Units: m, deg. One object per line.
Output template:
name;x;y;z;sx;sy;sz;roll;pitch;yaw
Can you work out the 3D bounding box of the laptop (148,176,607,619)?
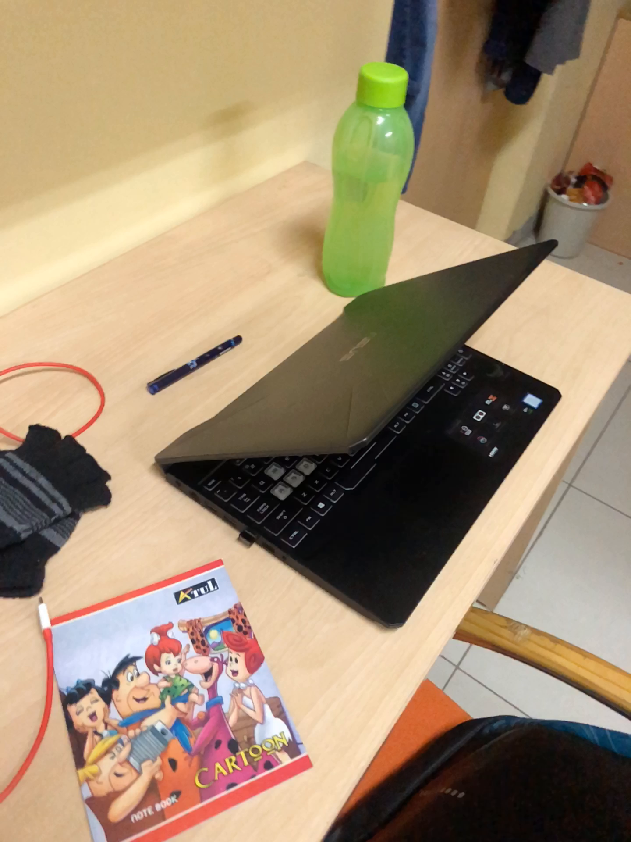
laptop;0.067;-0.050;0.636;0.248;0.147;0.340;31;50;19
